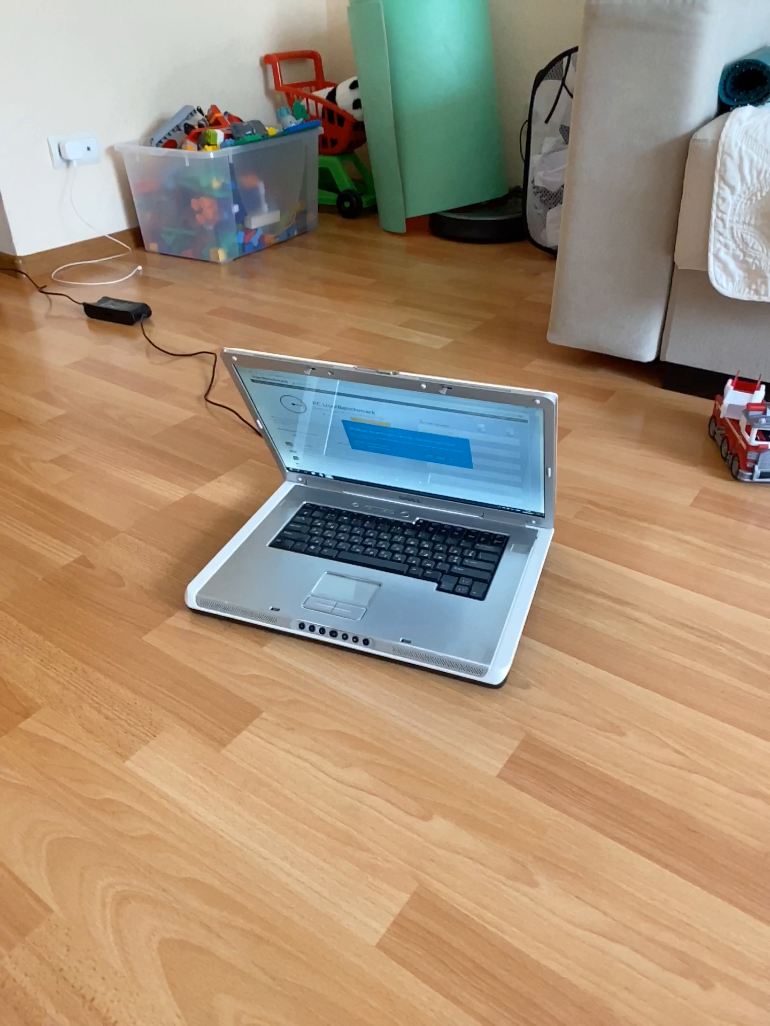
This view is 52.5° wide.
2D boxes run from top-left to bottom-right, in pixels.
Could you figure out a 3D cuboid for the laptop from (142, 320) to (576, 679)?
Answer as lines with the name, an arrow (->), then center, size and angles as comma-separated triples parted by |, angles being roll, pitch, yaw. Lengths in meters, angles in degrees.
laptop -> -0.011, -0.039, 0.888 | 0.386, 0.238, 0.275 | 11, 34, 17
